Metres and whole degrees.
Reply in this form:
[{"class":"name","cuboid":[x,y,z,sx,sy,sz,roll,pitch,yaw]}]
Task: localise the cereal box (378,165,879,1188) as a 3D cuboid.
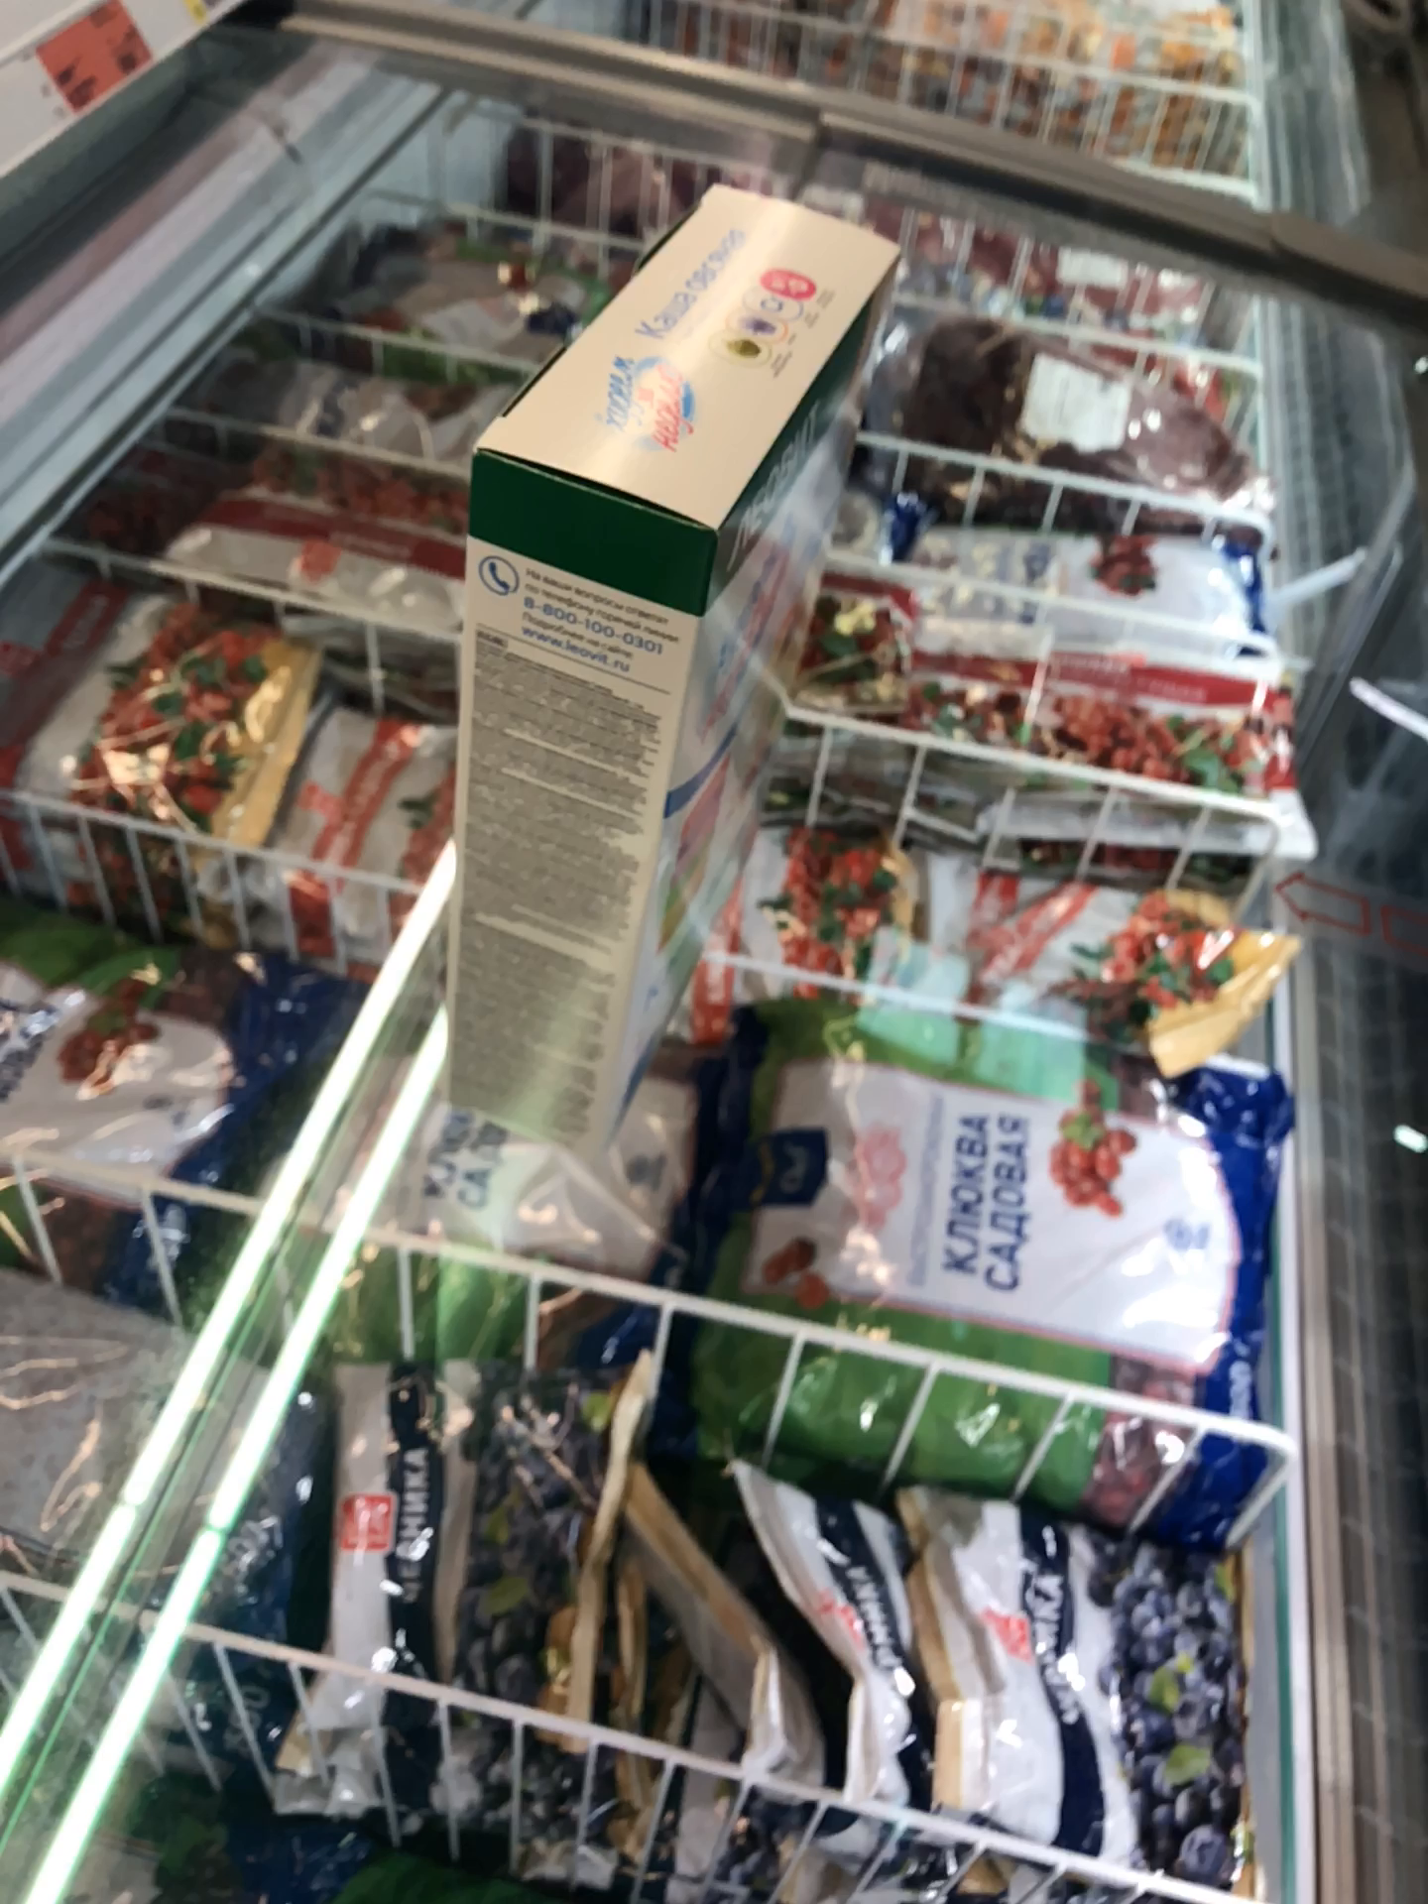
[{"class":"cereal box","cuboid":[-0.030,-0.066,0.438,0.060,0.228,0.151,21,48,6]}]
